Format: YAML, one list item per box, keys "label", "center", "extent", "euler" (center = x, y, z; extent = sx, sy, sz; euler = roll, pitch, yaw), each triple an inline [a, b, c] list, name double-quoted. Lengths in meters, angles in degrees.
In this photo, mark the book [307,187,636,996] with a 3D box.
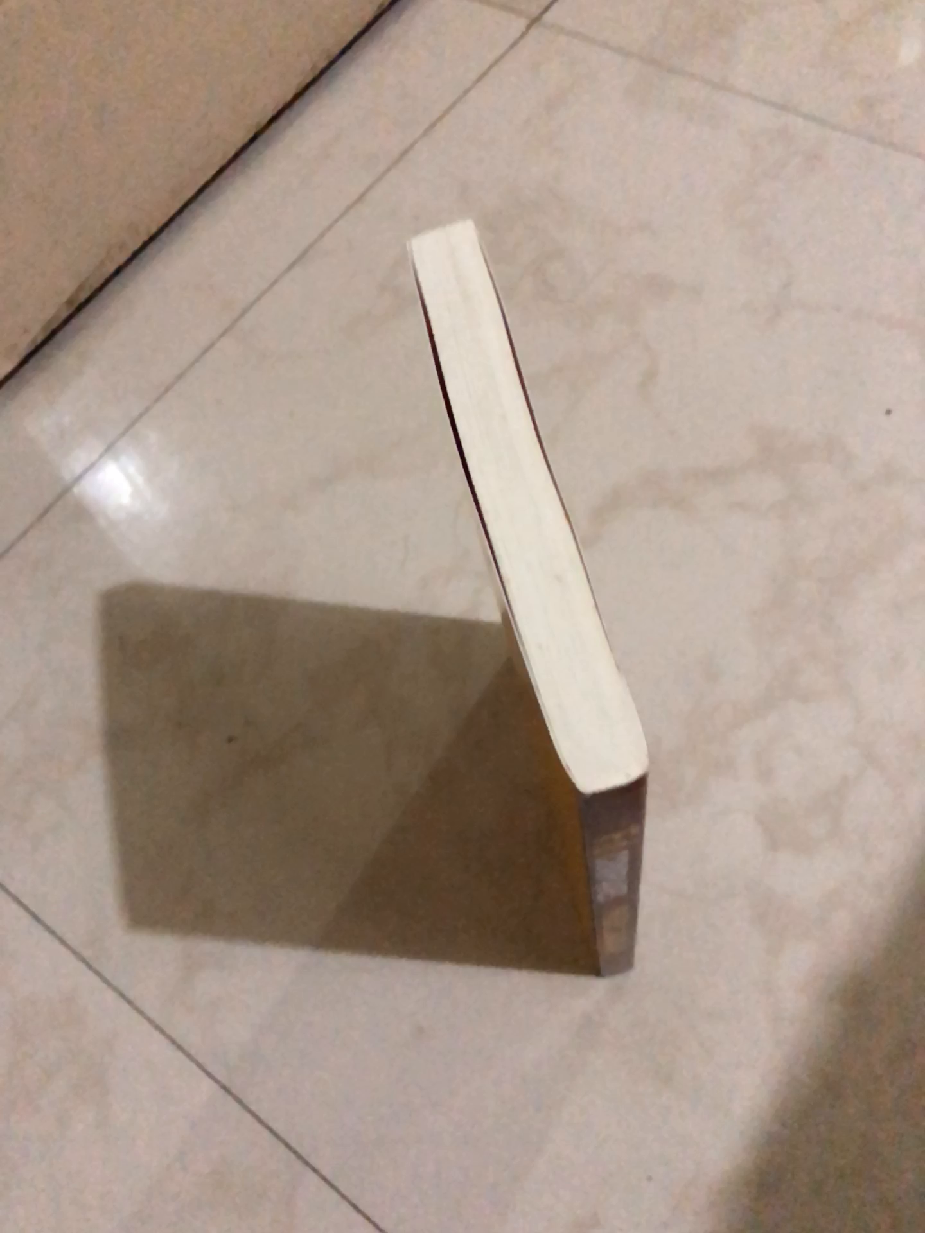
- label: "book"
  center: [0.010, 0.016, 0.271]
  extent: [0.030, 0.200, 0.130]
  euler: [-15, 62, 1]
